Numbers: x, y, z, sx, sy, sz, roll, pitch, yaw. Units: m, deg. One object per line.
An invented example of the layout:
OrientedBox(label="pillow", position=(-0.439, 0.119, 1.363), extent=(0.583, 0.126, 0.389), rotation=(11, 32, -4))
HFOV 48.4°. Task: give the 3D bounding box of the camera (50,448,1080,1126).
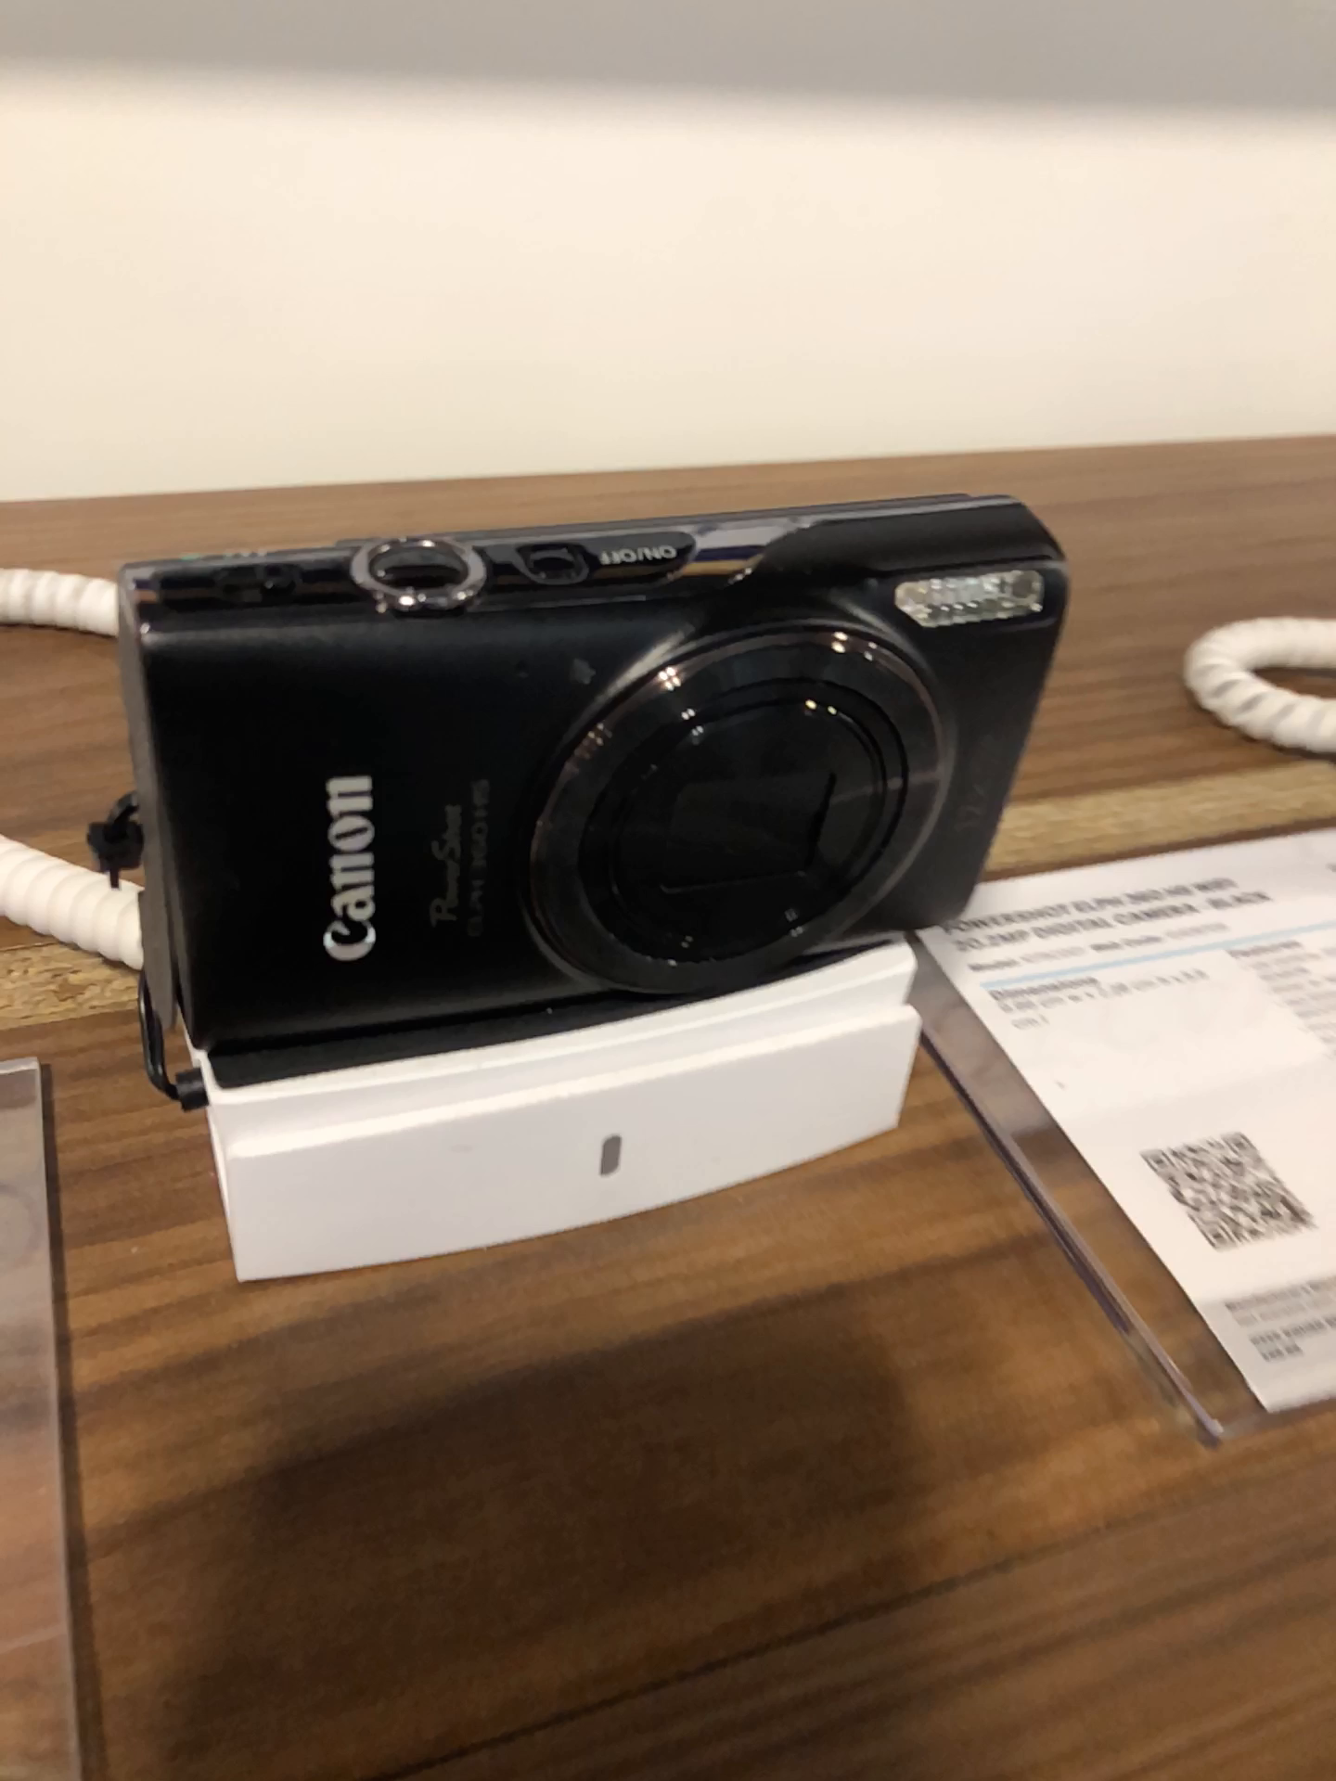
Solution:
OrientedBox(label="camera", position=(-0.011, -0.014, 0.167), extent=(0.100, 0.056, 0.030), rotation=(-9, 38, -20))
